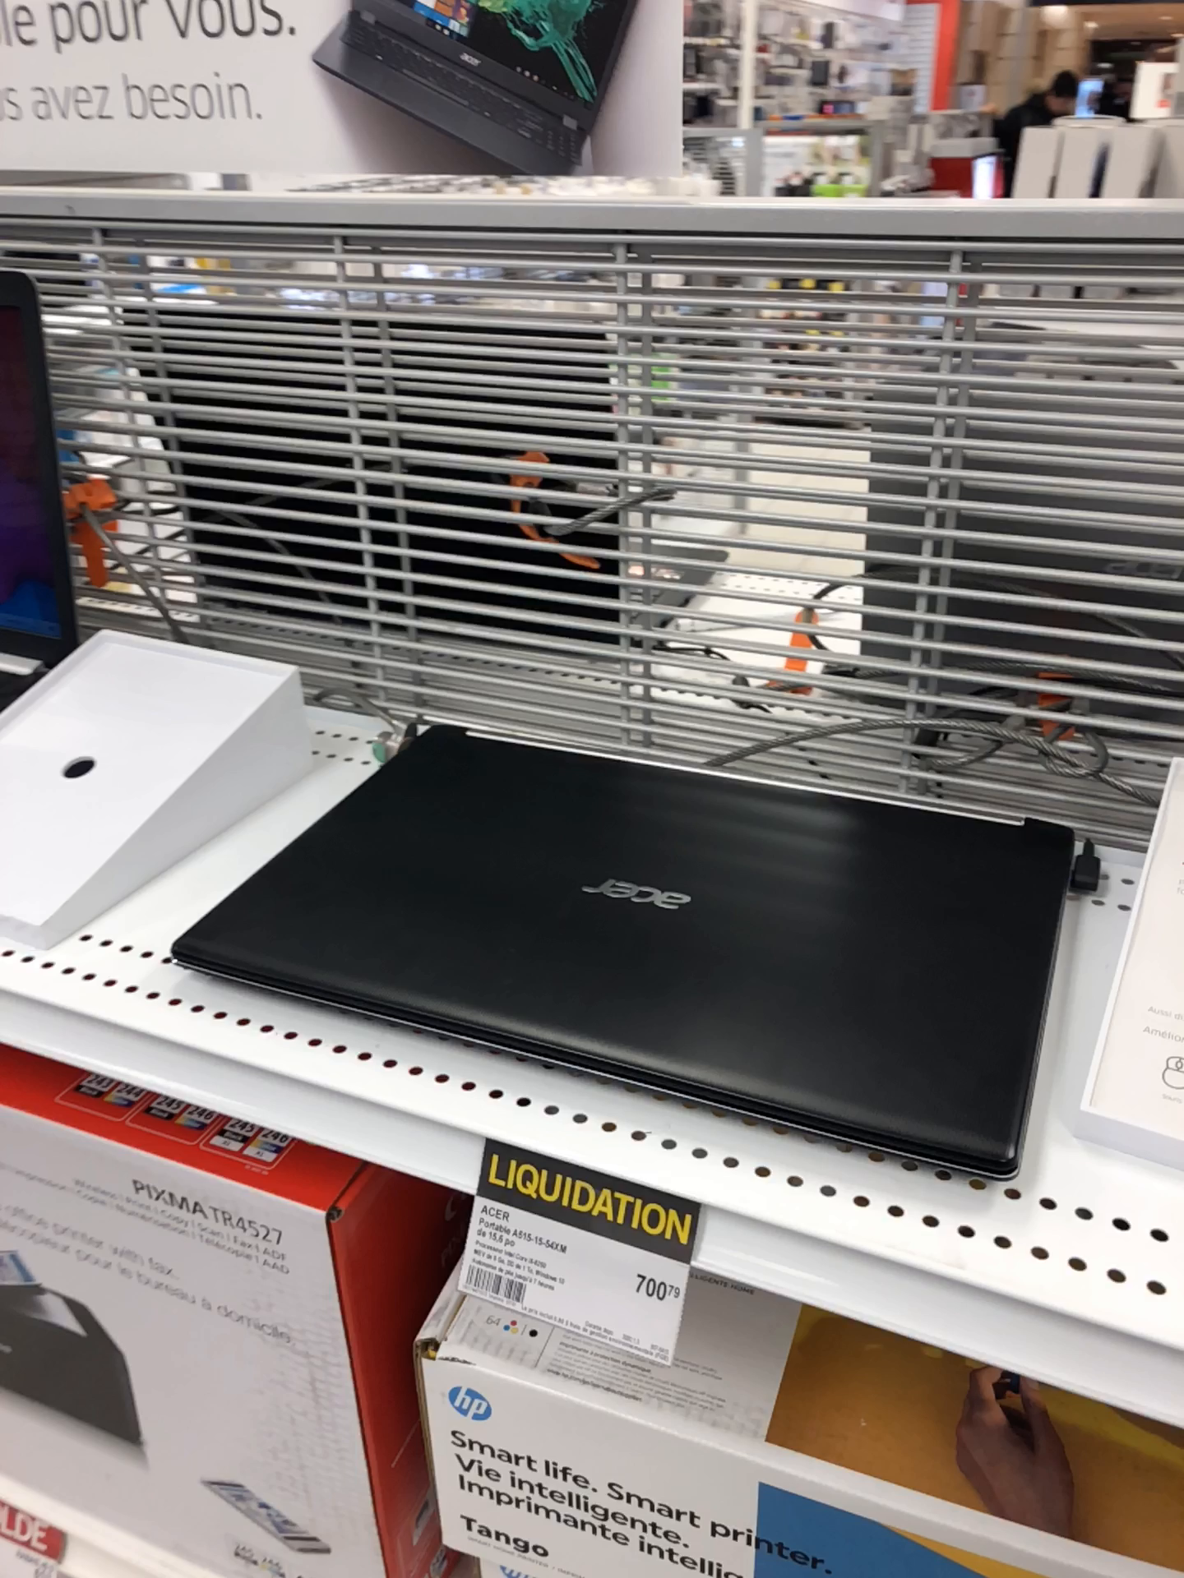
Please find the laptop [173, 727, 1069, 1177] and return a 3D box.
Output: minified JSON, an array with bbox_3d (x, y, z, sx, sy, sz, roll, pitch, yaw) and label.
[{"bbox_3d":[0.023,0.052,0.619,0.362,0.012,0.228,10,33,20],"label":"laptop"}]
